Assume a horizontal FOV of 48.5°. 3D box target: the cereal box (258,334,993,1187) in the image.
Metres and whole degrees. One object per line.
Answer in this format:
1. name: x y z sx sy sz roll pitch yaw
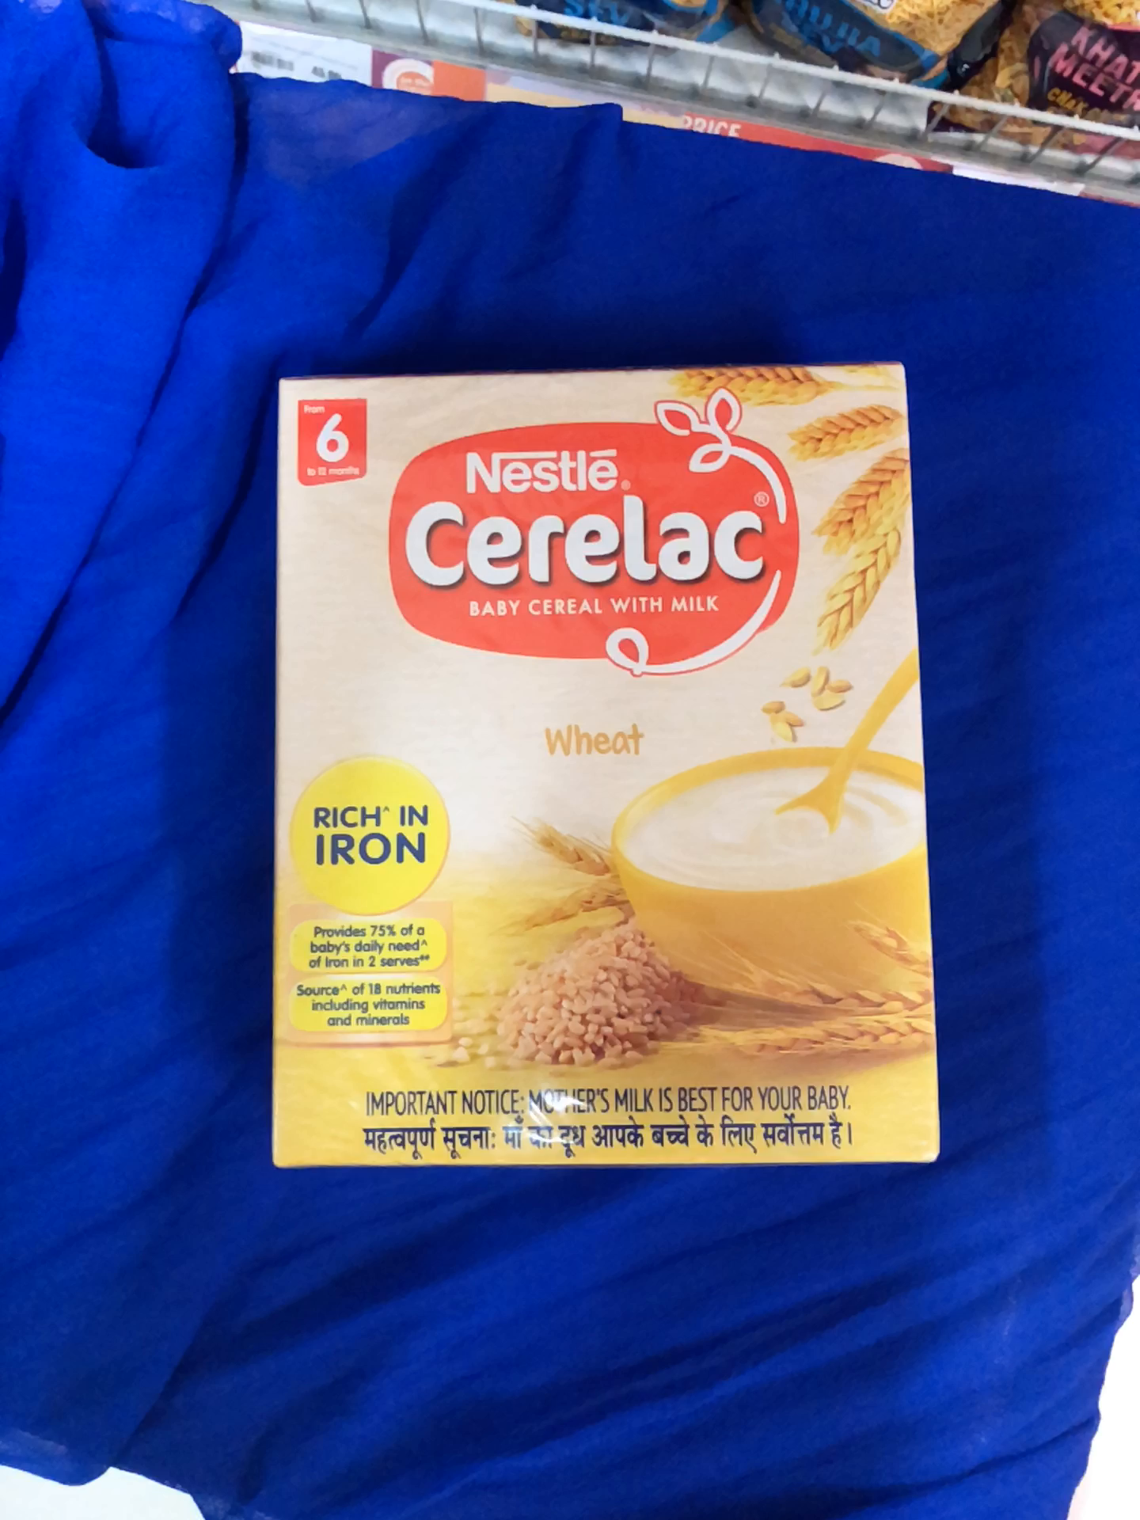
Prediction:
1. cereal box: 0.010 -0.001 0.314 0.160 0.060 0.190 -1 85 -2
